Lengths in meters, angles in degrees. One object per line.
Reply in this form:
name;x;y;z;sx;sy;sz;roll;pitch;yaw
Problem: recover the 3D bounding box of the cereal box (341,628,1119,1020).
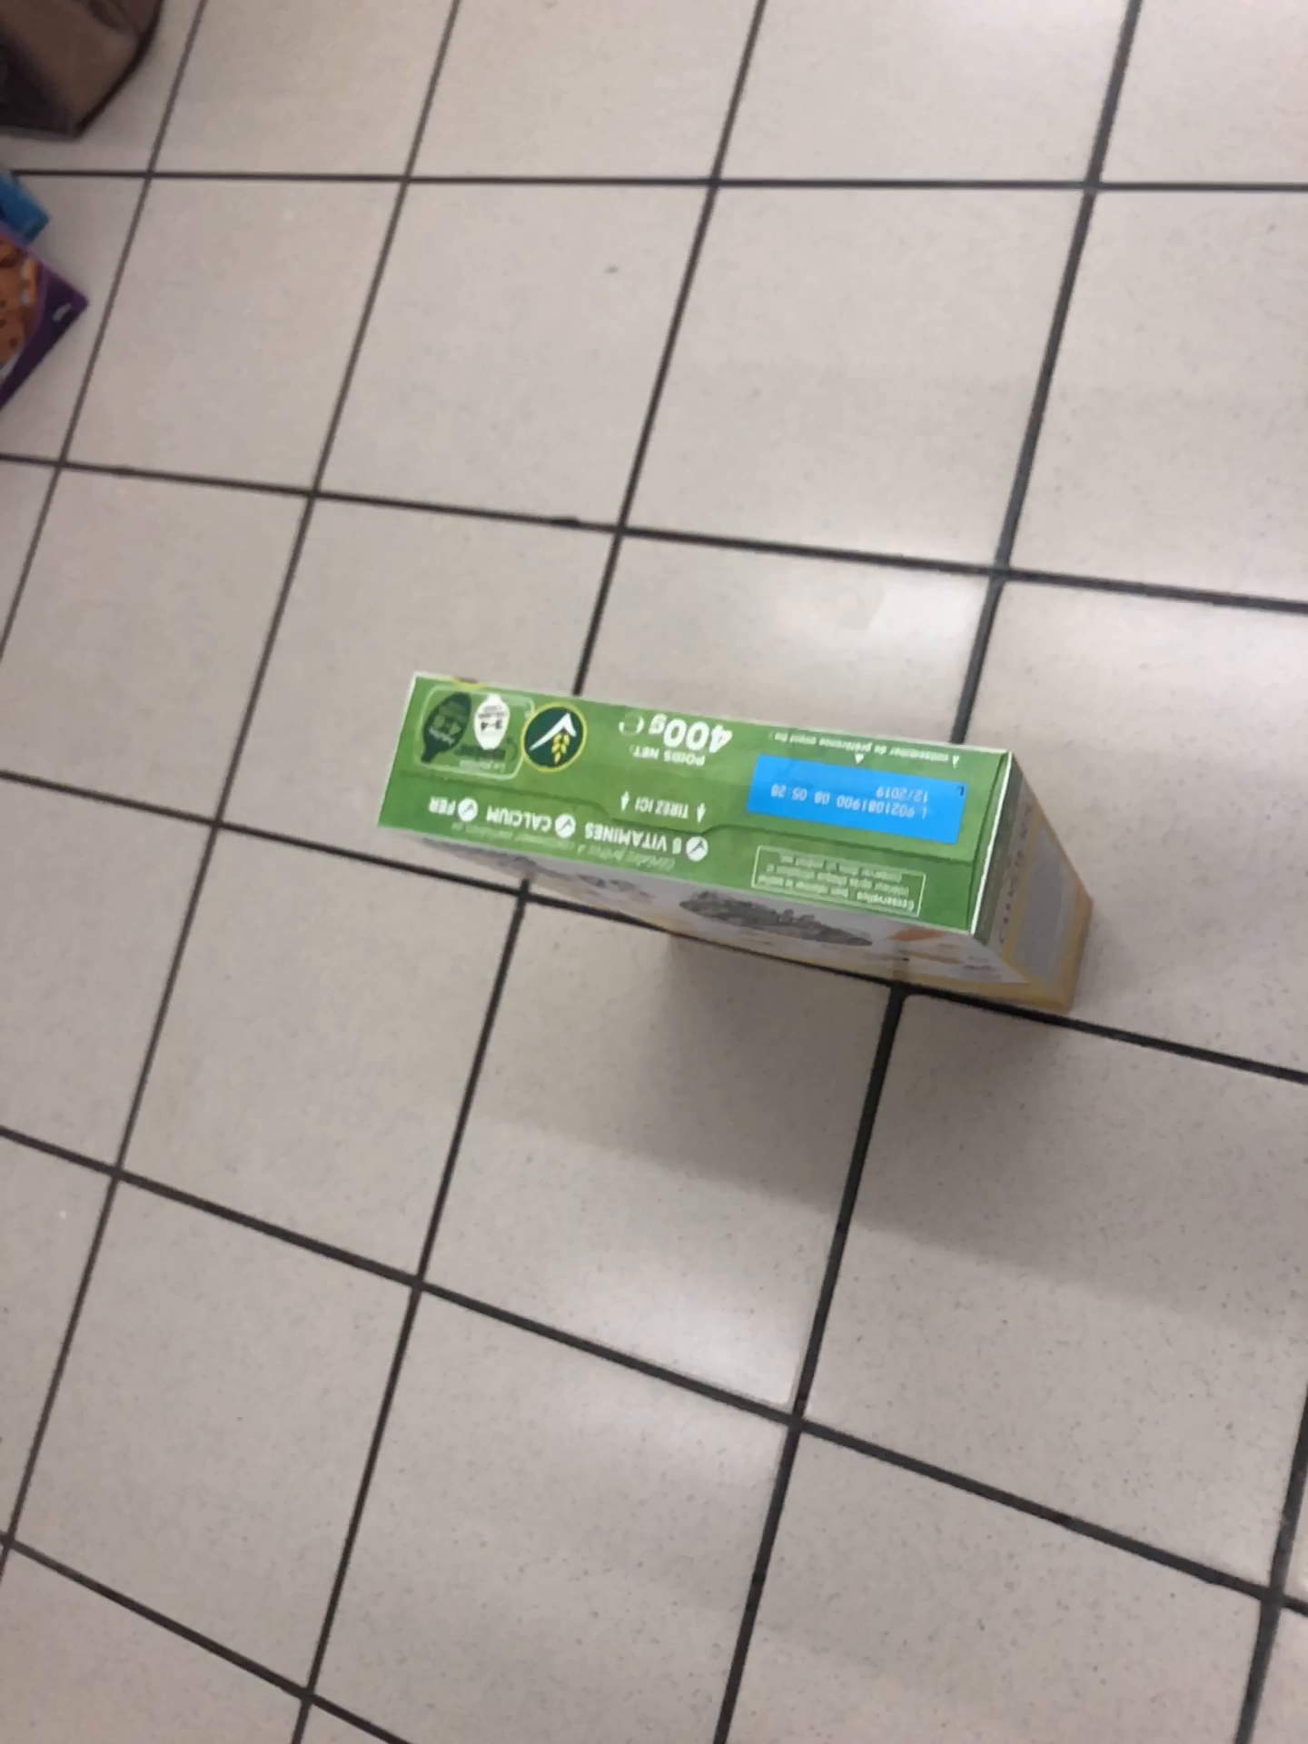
cereal box;0.054;-0.006;0.541;0.210;0.280;0.060;10;84;22
